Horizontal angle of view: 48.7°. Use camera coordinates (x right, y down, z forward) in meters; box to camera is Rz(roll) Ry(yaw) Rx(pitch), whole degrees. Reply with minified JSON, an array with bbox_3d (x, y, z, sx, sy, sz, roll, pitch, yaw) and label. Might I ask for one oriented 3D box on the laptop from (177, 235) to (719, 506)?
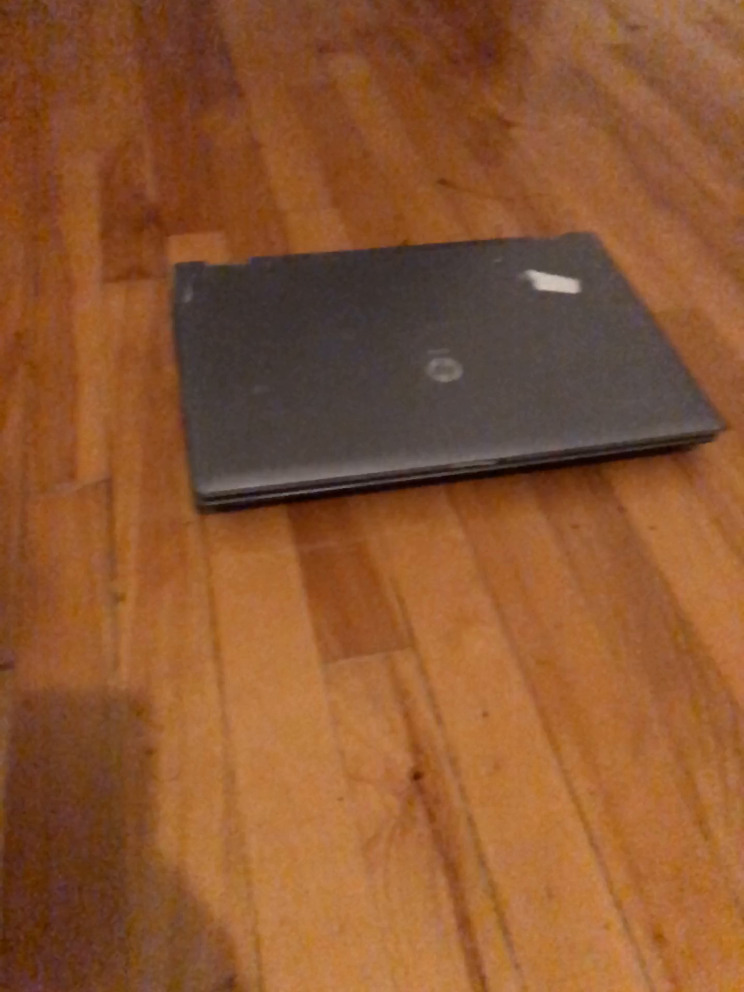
[{"bbox_3d":[0.044,-0.113,0.627,0.363,0.010,0.242,-8,52,-11],"label":"laptop"}]
